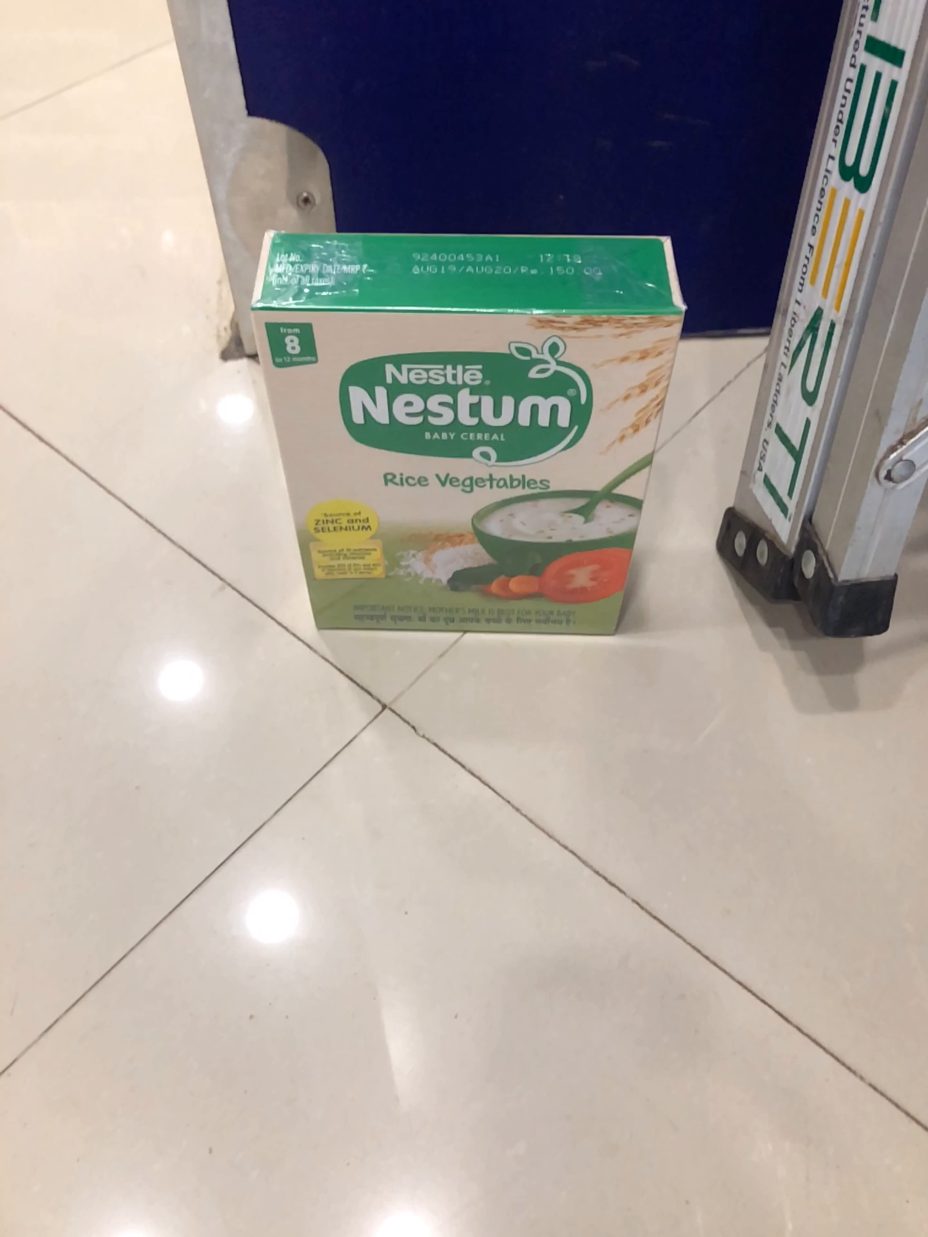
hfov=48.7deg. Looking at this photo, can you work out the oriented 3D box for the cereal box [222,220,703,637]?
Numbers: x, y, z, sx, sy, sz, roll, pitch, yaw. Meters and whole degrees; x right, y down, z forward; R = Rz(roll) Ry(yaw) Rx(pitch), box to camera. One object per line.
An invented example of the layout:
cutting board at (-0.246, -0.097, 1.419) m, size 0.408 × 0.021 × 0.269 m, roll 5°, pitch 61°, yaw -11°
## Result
cereal box at (-0.001, -0.068, 0.432) m, size 0.160 × 0.189 × 0.050 m, roll 1°, pitch 54°, yaw 0°
